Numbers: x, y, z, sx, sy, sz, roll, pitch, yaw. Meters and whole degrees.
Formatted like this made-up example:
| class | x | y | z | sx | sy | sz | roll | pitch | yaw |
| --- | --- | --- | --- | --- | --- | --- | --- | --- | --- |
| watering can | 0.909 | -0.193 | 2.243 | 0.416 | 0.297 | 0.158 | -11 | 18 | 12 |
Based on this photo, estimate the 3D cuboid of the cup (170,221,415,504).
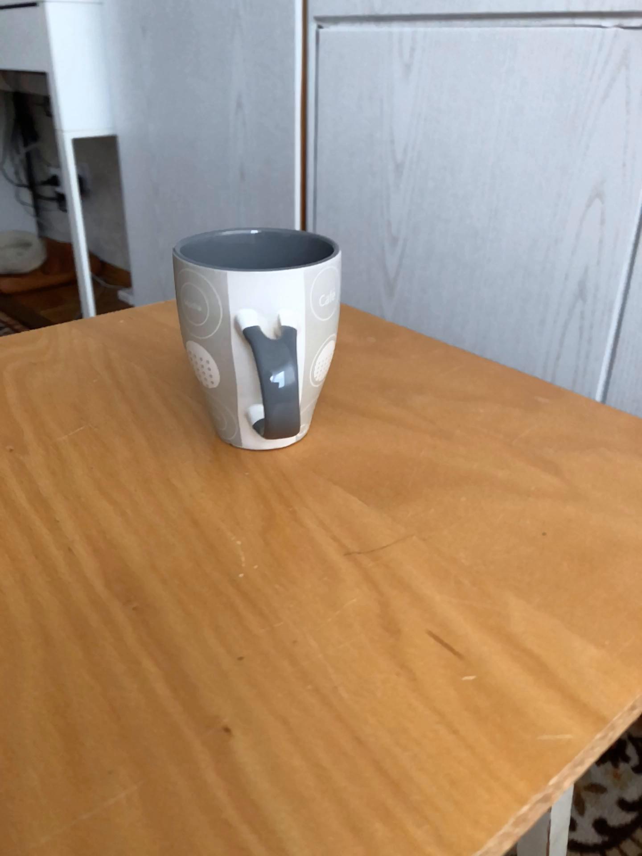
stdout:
| class | x | y | z | sx | sy | sz | roll | pitch | yaw |
| --- | --- | --- | --- | --- | --- | --- | --- | --- | --- |
| cup | -0.021 | -0.042 | 0.354 | 0.084 | 0.093 | 0.127 | -8 | 28 | -16 |
